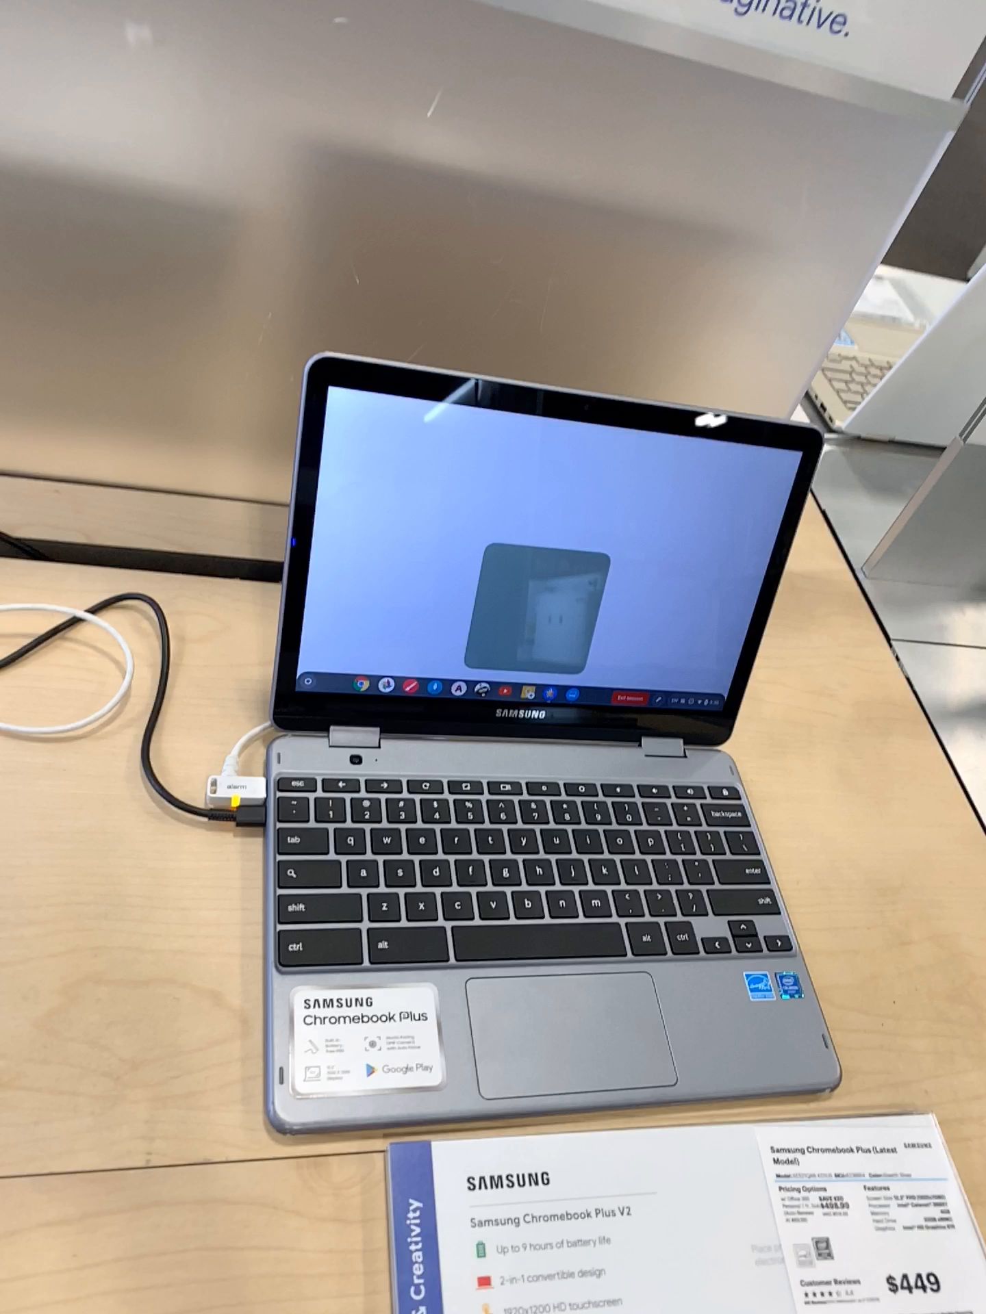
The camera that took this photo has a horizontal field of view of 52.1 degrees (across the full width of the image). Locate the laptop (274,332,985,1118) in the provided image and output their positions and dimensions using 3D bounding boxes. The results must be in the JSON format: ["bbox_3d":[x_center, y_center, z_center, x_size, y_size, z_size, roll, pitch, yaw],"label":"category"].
[{"bbox_3d":[0.044,0.028,0.485,0.274,0.181,0.288,3,50,-17],"label":"laptop"}]
